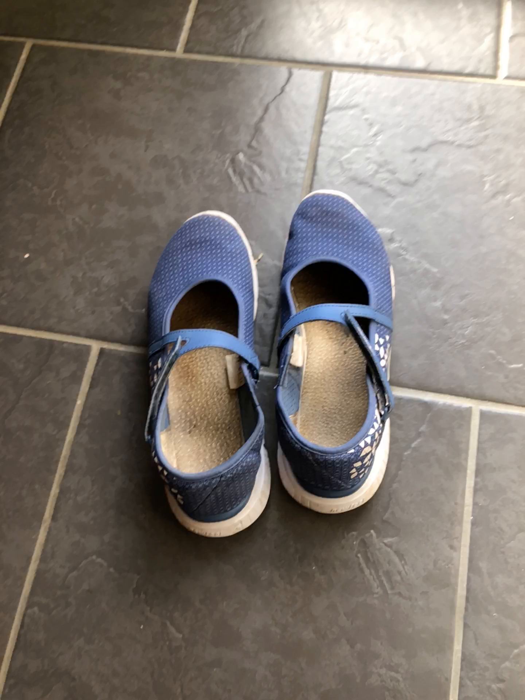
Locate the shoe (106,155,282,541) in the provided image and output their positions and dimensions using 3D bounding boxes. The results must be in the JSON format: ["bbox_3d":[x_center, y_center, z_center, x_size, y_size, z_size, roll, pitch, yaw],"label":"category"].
[{"bbox_3d":[-0.052,0.003,0.483,0.110,0.120,0.291,-5,71,3],"label":"shoe"}]

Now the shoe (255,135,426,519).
[{"bbox_3d":[0.056,-0.014,0.479,0.110,0.120,0.291,-1,71,5],"label":"shoe"}]
